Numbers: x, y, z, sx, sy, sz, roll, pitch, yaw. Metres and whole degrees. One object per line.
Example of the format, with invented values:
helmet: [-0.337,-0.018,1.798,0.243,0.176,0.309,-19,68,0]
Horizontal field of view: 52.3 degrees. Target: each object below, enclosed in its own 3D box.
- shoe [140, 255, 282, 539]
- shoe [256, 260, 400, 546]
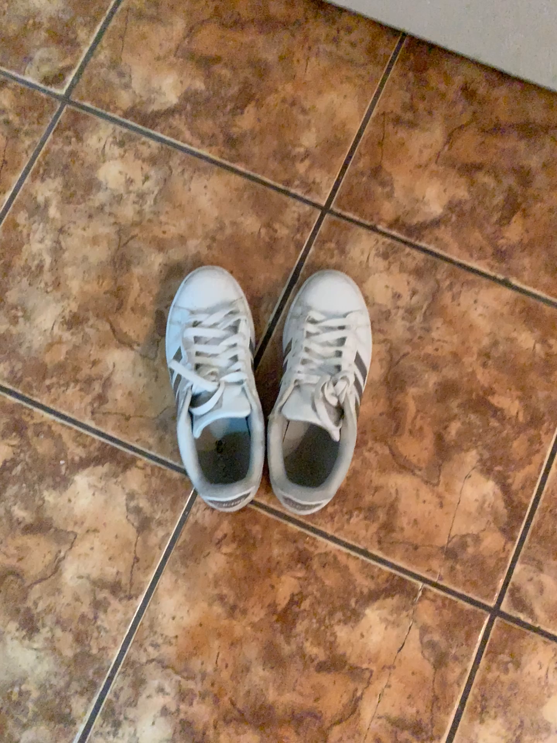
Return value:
shoe: [-0.066,0.028,0.580,0.101,0.104,0.256,-8,78,-1]
shoe: [0.049,0.033,0.578,0.101,0.104,0.256,8,78,2]
